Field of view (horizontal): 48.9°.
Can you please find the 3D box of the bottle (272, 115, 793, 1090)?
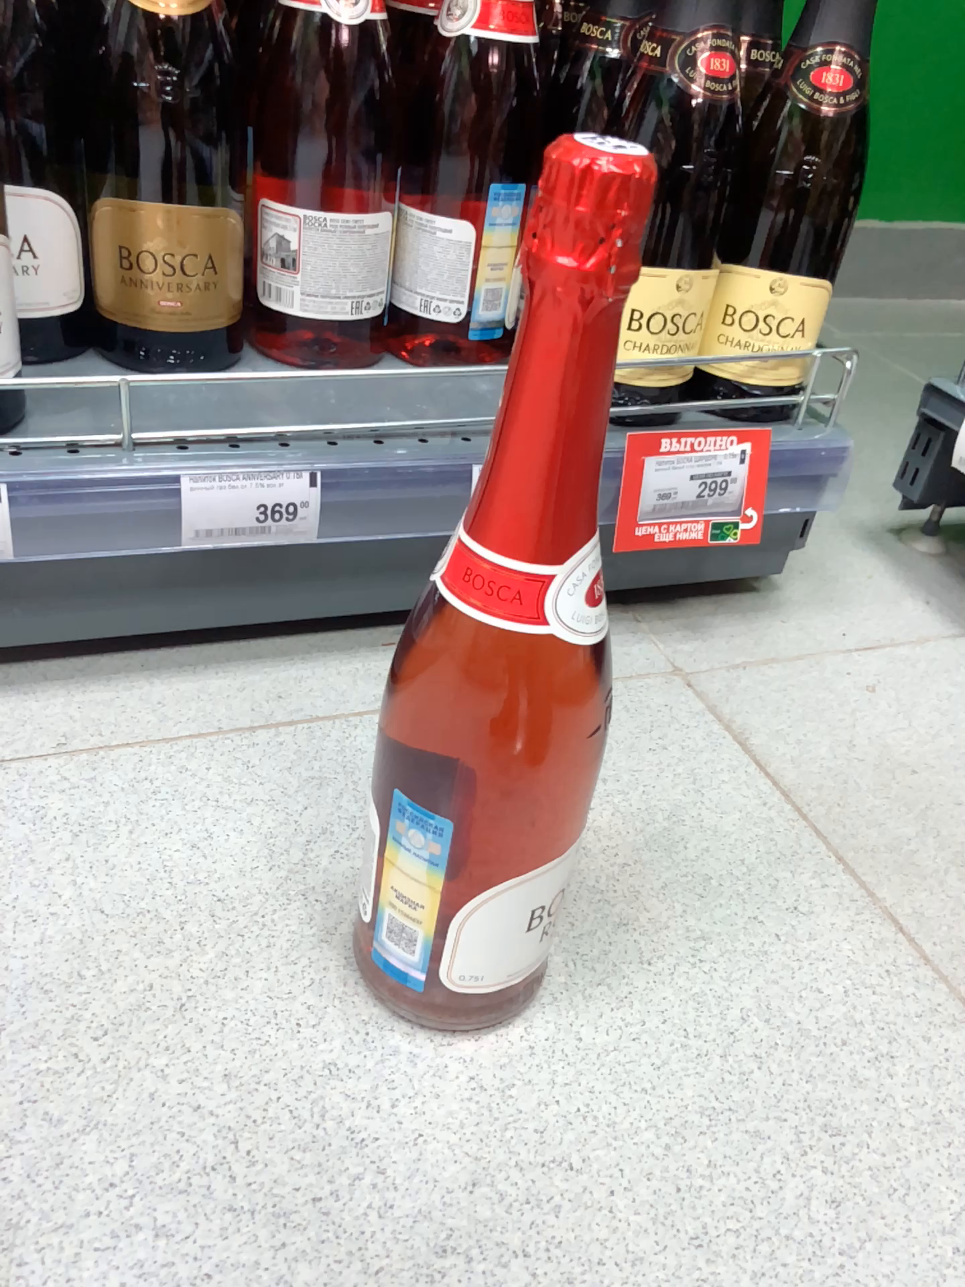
[{"bbox_3d":[0.003,0.000,0.375,0.100,0.317,0.101,7,33,-5],"label":"bottle"}]
